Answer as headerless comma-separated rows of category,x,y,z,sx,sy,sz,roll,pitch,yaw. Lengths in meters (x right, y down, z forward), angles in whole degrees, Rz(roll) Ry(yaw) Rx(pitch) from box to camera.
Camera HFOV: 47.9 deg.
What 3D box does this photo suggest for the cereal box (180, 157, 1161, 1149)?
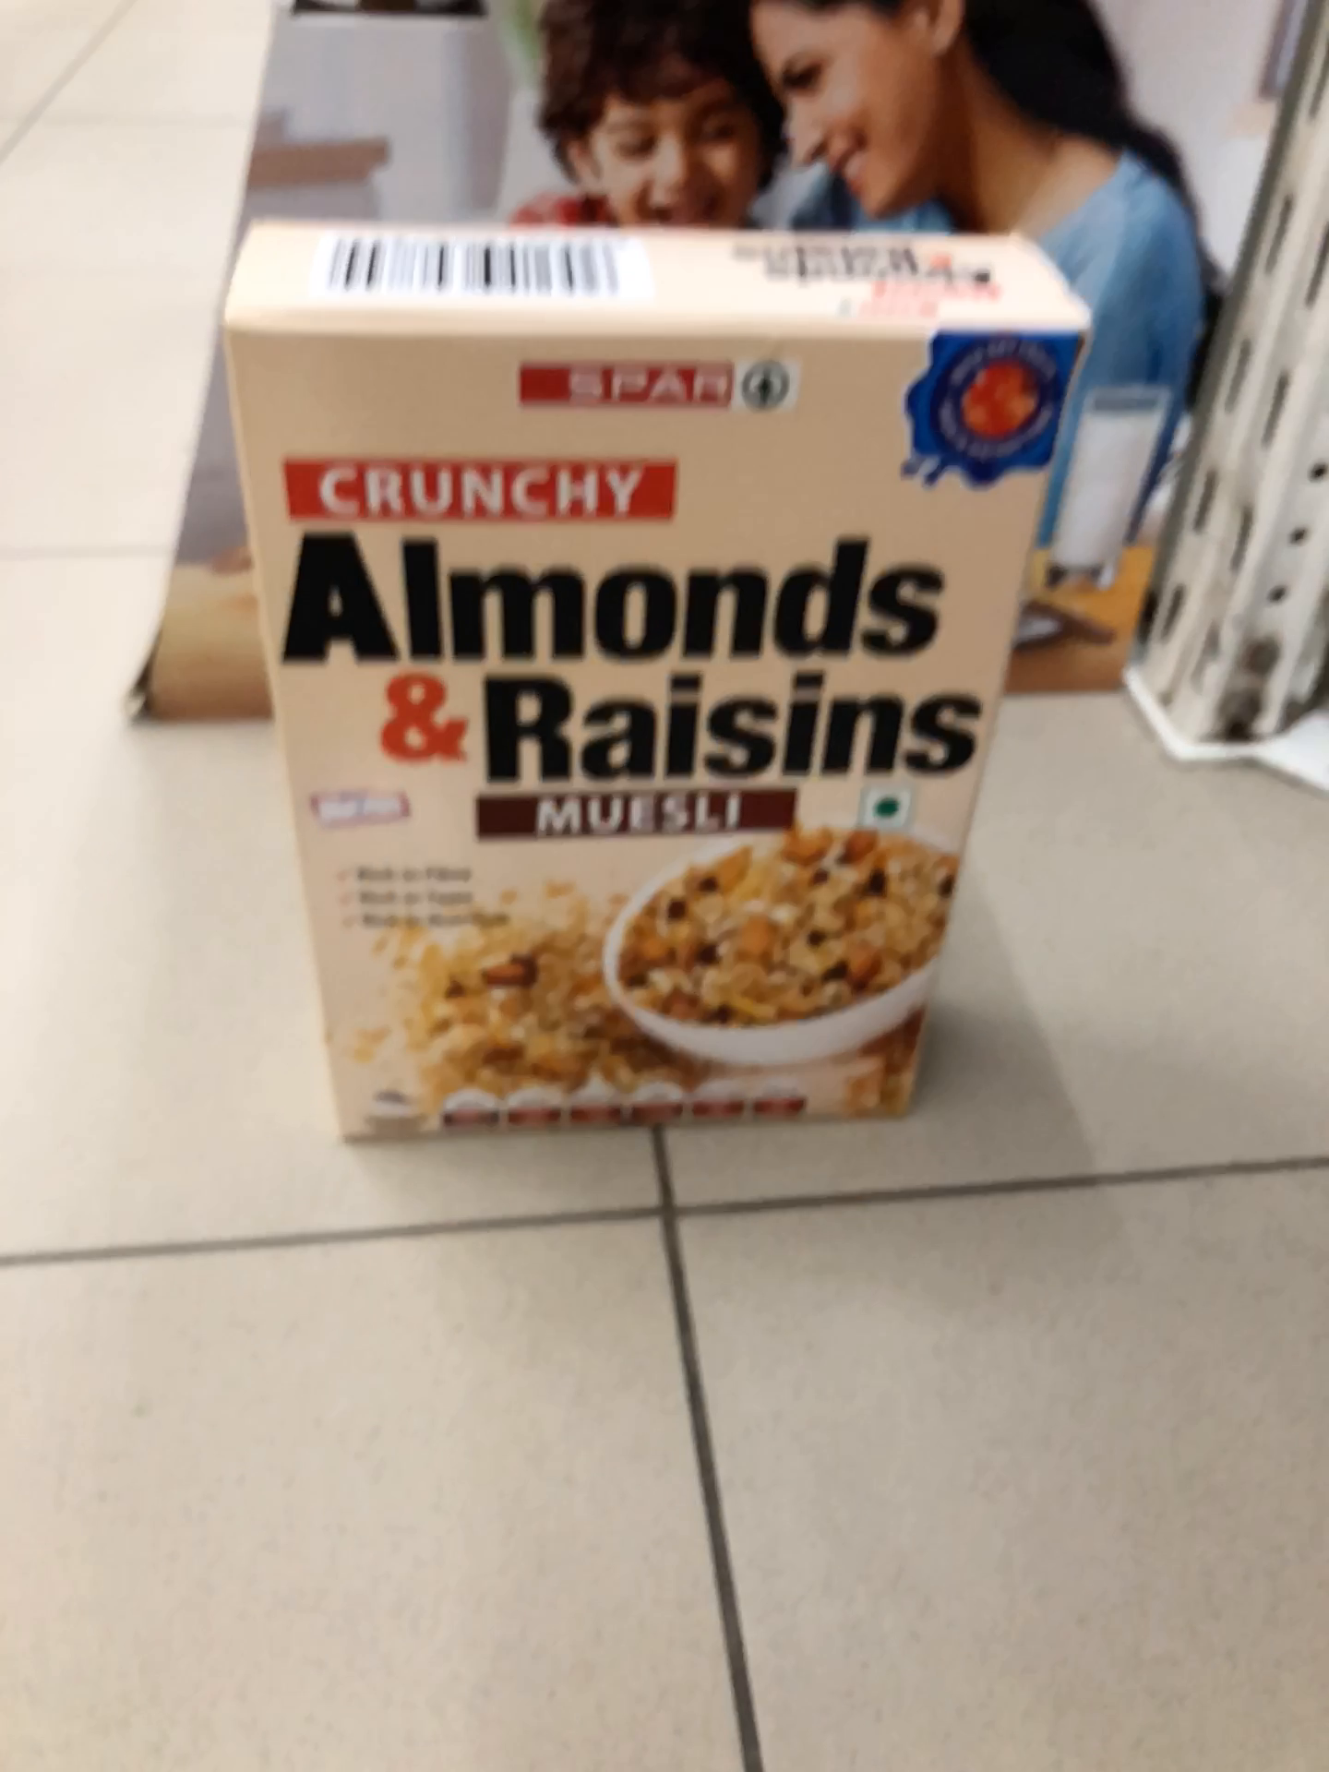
cereal box,-0.004,-0.042,0.371,0.180,0.238,0.060,-2,39,-6
